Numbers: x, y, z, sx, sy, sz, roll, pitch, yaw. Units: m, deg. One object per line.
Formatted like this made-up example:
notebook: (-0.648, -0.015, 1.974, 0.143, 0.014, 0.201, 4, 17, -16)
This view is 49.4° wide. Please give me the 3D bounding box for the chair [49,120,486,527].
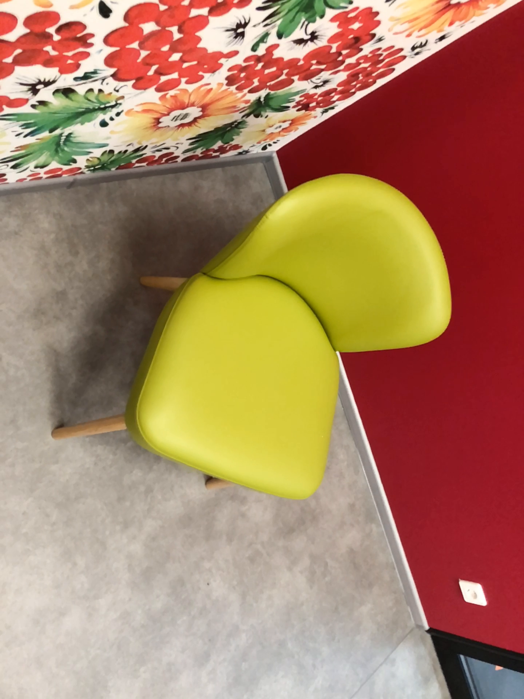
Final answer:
chair: (-0.010, 0.016, 1.325, 0.522, 0.776, 0.571, 29, 65, -32)
